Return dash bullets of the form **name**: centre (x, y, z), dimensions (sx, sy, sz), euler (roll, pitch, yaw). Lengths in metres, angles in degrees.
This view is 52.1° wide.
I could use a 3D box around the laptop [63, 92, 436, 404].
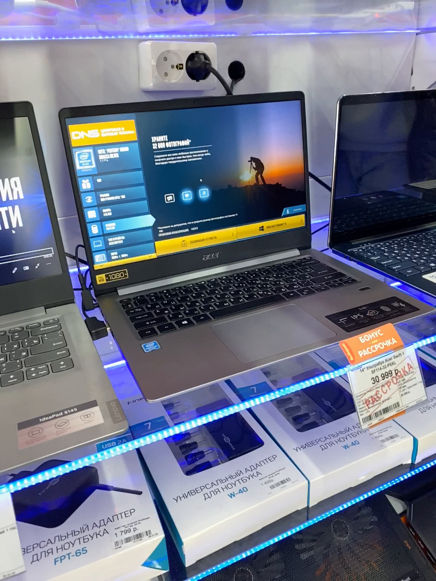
- **laptop**: centre (0.034, -0.088, 0.477), dimensions (0.319, 0.206, 0.258), euler (-14, 28, -22)
